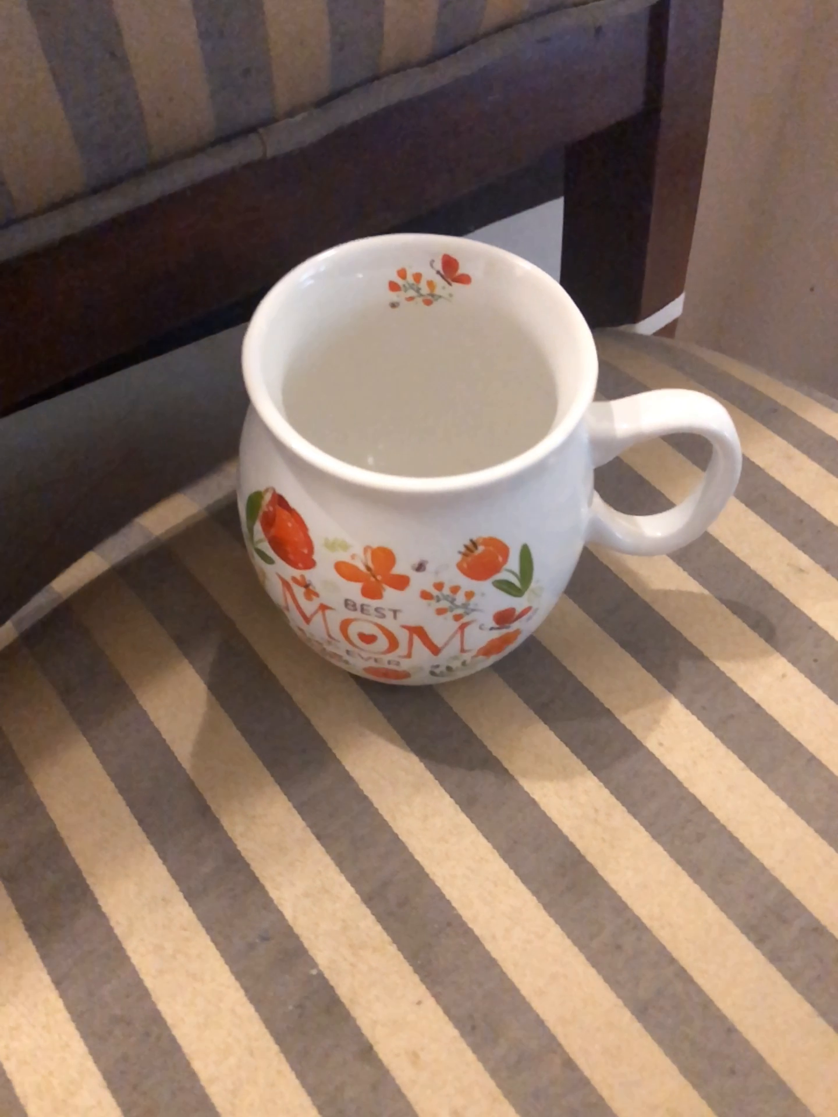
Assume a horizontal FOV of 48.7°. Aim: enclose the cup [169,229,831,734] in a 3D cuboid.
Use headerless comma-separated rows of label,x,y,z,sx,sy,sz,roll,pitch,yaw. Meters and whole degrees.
cup,0.019,-0.022,0.265,0.140,0.090,0.111,1,53,2
